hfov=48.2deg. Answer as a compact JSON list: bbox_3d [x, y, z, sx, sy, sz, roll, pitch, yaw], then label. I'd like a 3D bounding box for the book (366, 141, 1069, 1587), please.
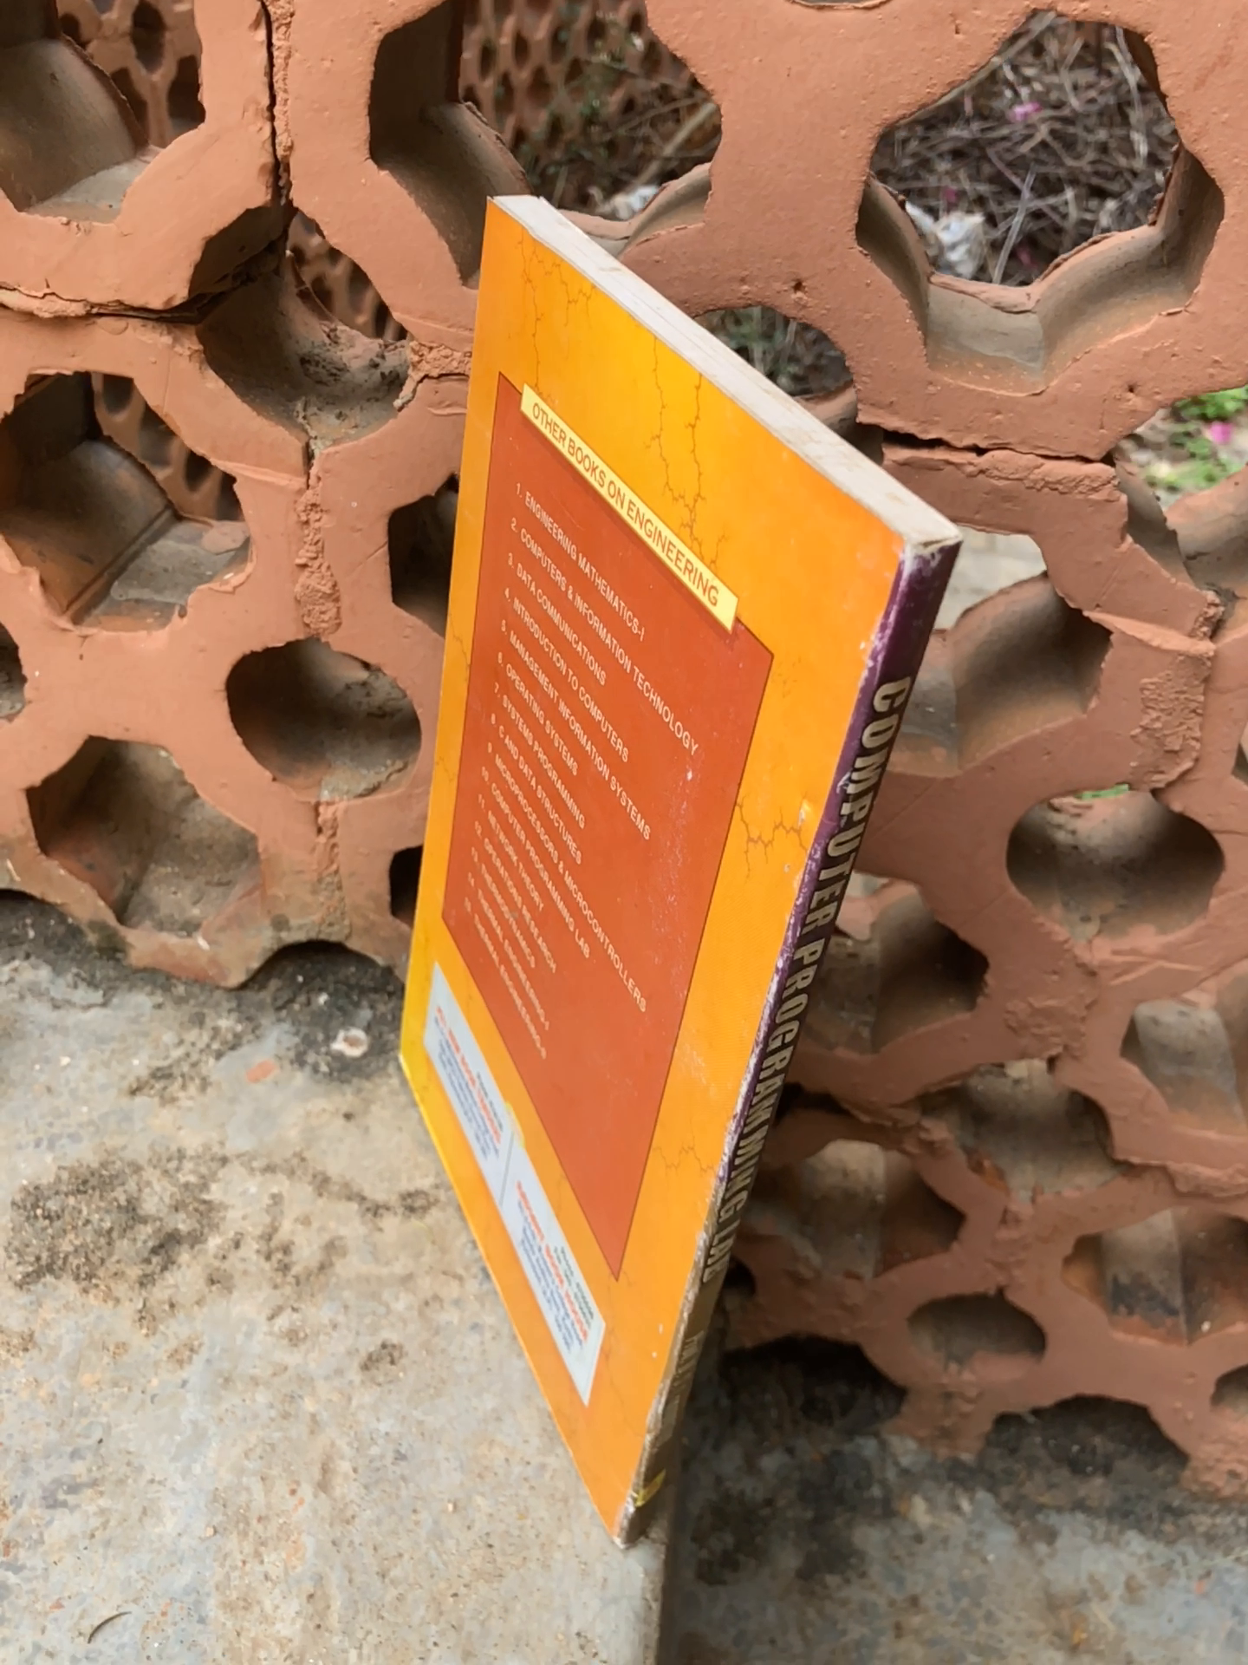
[{"bbox_3d":[-0.012,0.008,0.300,0.020,0.249,0.181,-6,38,-25],"label":"book"}]
